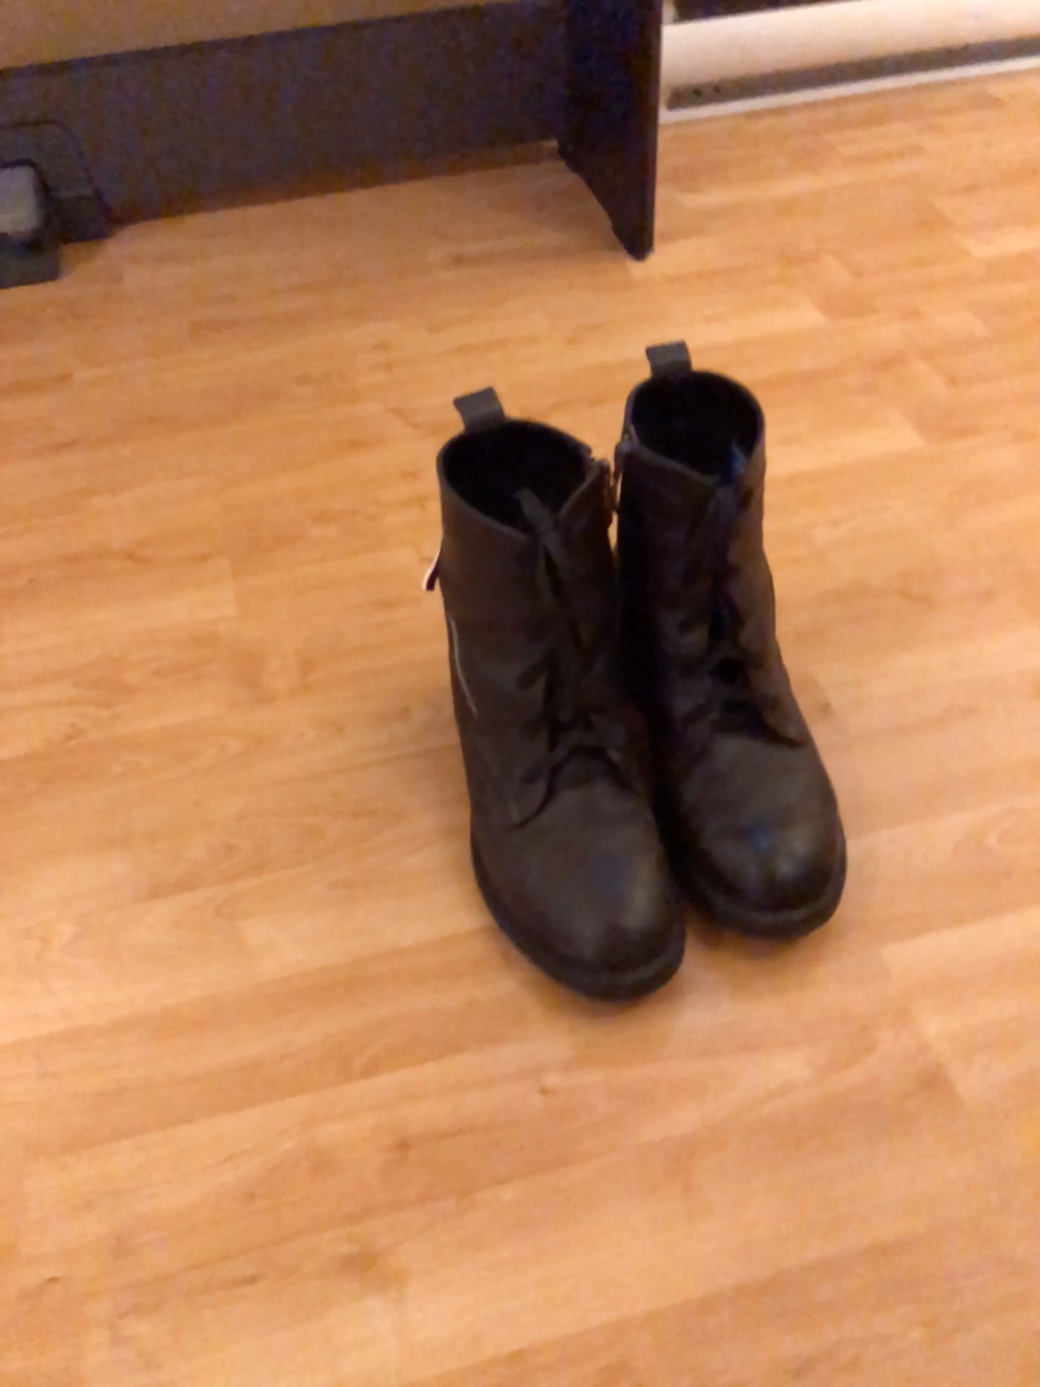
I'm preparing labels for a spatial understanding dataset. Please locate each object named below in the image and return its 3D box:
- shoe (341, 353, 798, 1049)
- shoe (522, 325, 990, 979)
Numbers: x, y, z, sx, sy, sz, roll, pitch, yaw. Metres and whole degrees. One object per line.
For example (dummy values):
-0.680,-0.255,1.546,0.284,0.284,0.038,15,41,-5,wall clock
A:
0.009,-0.008,0.548,0.110,0.179,0.271,-15,47,-10,shoe
0.093,-0.031,0.577,0.110,0.179,0.271,-13,46,-9,shoe
